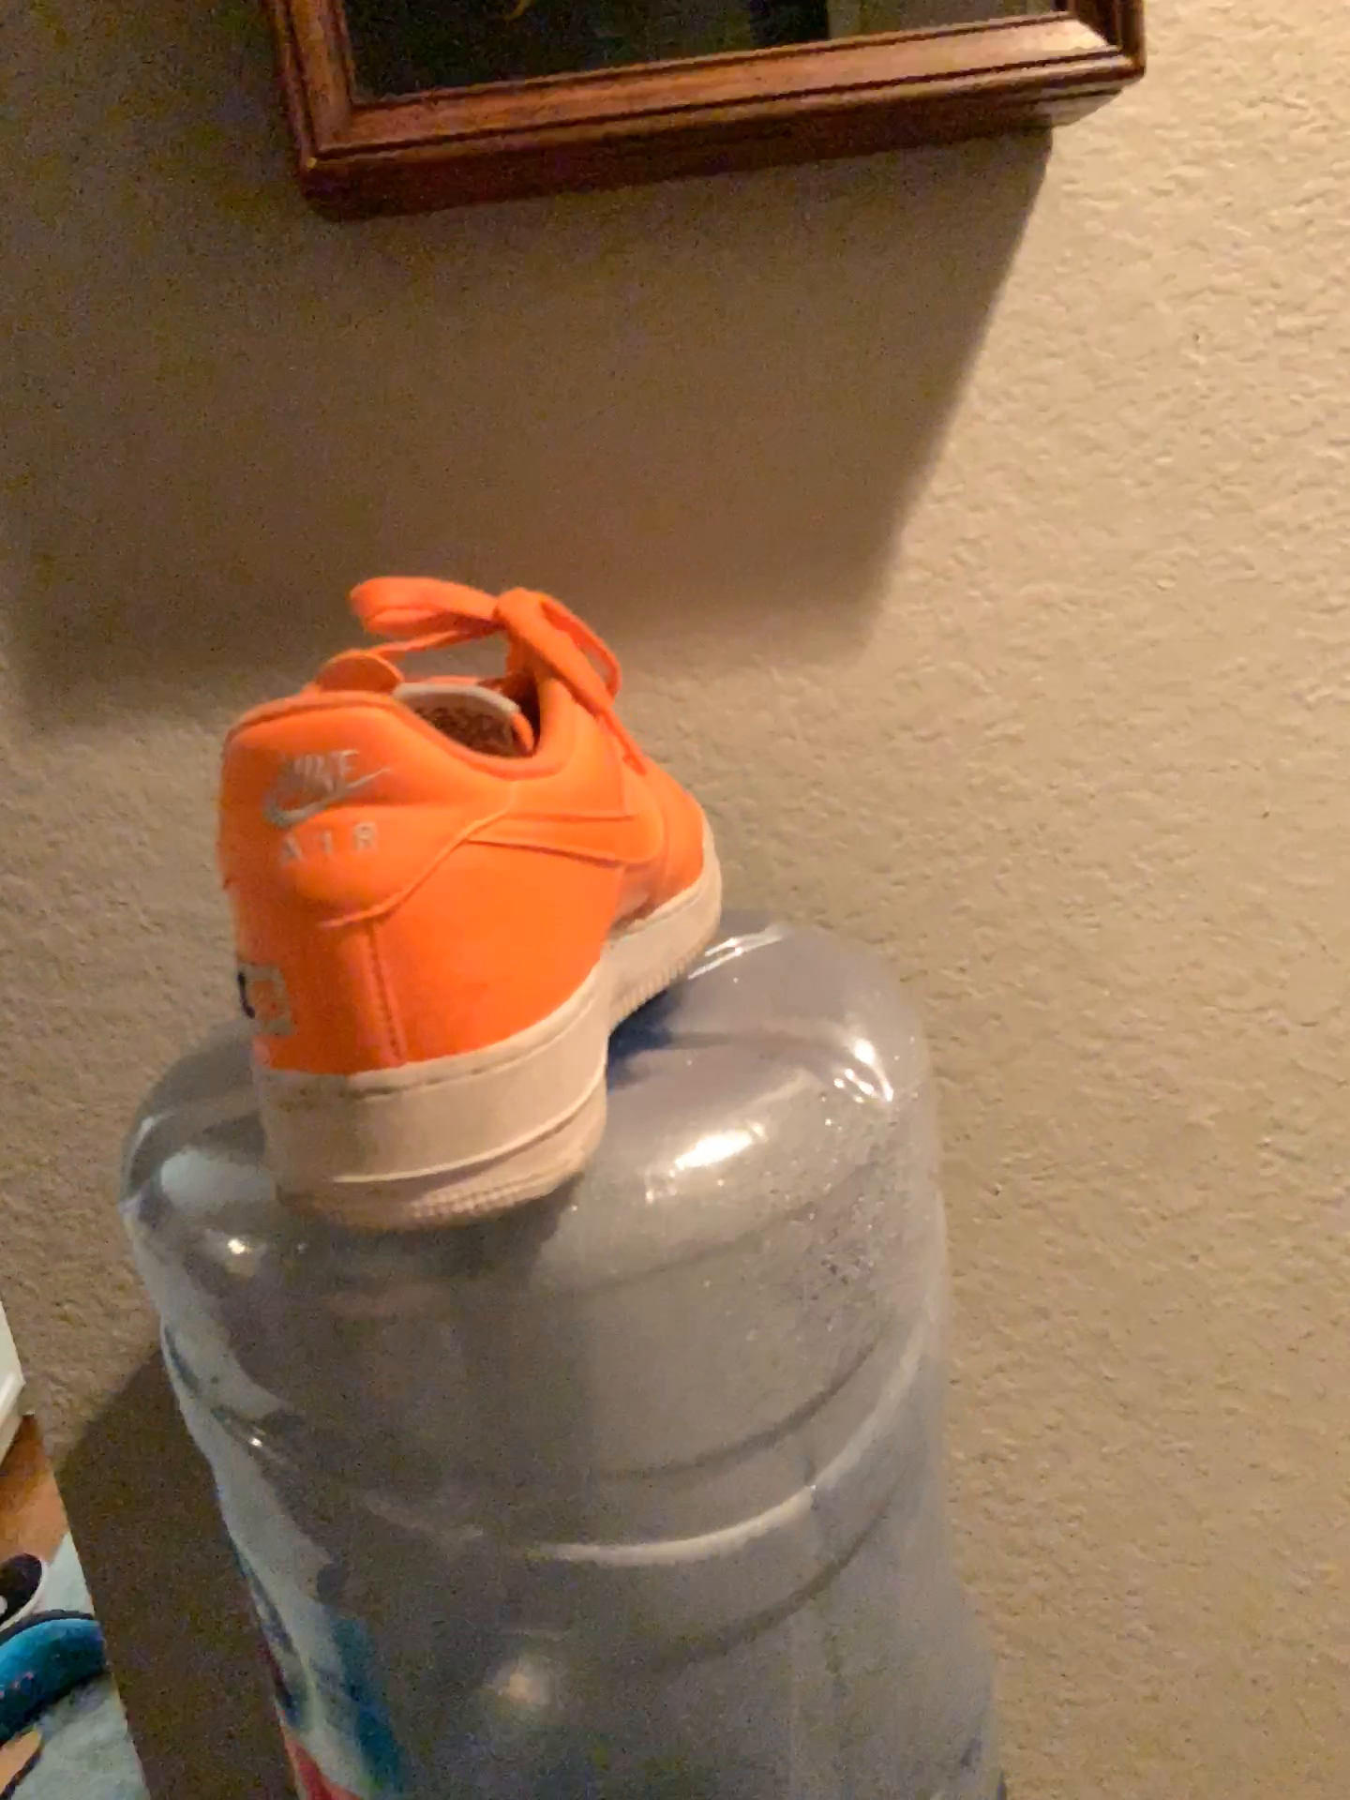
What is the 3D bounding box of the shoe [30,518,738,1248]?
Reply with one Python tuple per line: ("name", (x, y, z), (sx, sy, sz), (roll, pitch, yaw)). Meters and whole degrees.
("shoe", (-0.053, -0.035, 0.461), (0.120, 0.140, 0.300), (-7, 15, 6))
